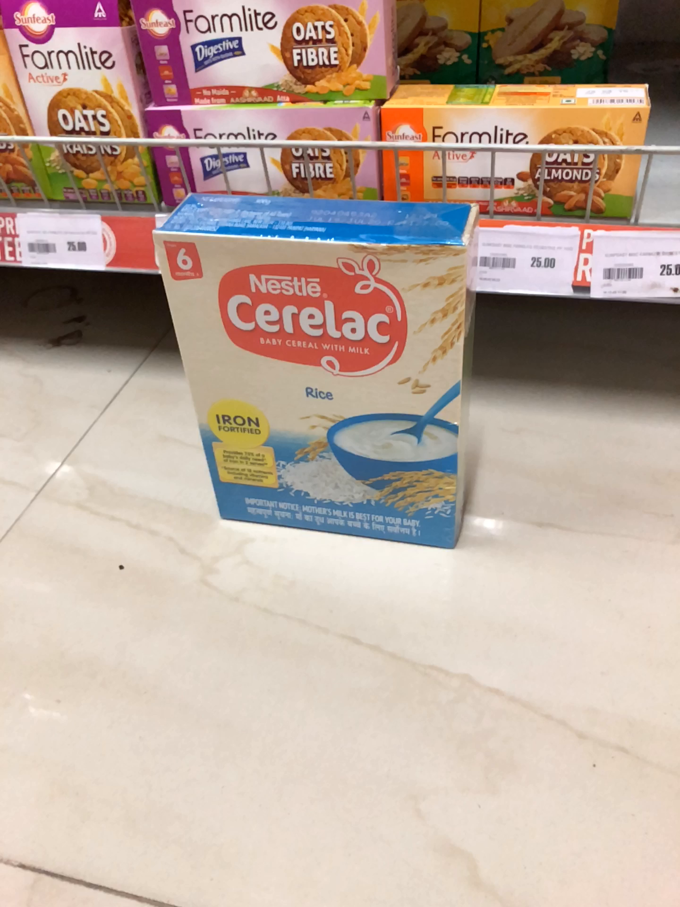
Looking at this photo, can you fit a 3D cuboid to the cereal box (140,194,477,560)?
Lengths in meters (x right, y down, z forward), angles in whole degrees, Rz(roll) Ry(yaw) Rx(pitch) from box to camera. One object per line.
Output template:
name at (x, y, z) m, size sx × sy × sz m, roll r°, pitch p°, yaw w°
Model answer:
cereal box at (-0.007, -0.037, 0.418) m, size 0.150 × 0.189 × 0.060 m, roll 6°, pitch 41°, yaw 13°
